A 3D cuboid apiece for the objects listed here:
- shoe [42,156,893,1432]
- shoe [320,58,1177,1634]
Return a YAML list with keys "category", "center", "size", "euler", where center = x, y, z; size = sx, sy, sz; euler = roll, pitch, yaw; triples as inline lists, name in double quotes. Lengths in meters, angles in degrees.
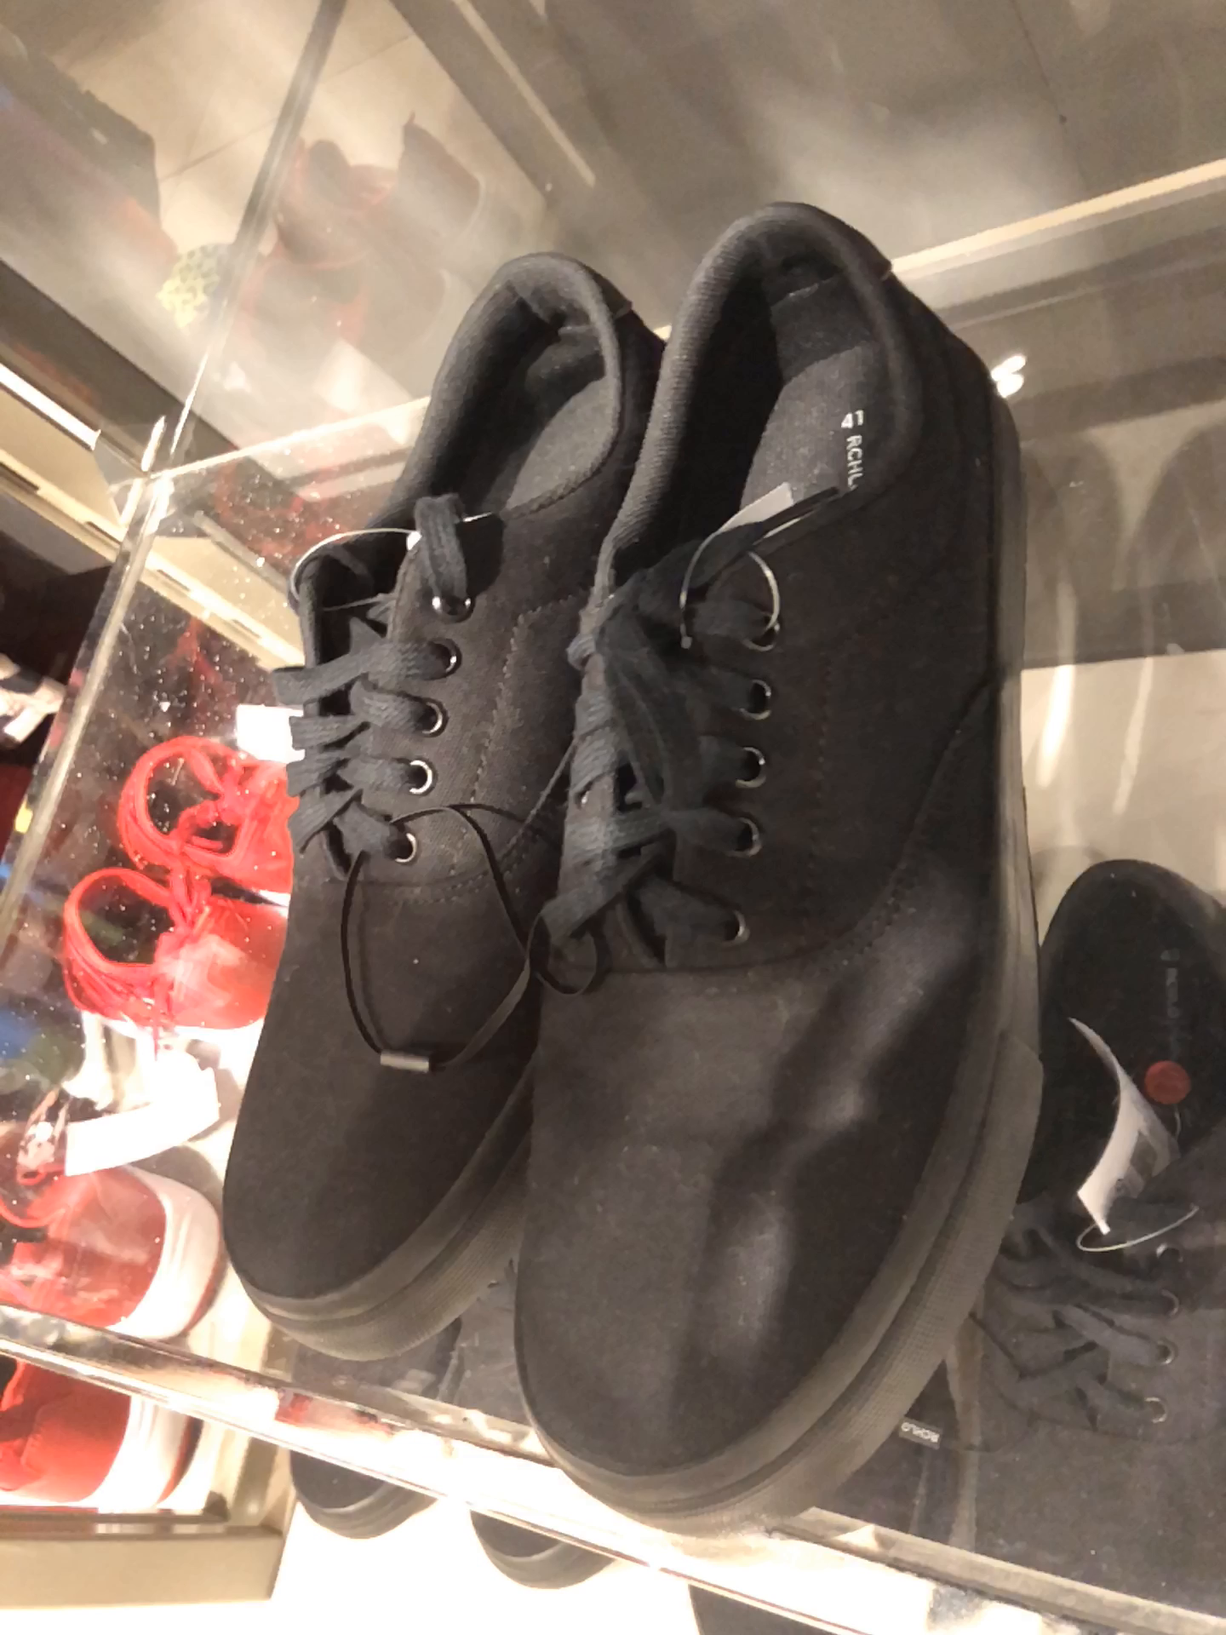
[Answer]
- category: "shoe"
  center: [-0.026, -0.011, 0.392]
  size: [0.111, 0.109, 0.320]
  euler: [3, 69, 38]
- category: "shoe"
  center: [0.052, 0.002, 0.320]
  size: [0.110, 0.109, 0.320]
  euler: [-3, 65, 36]
